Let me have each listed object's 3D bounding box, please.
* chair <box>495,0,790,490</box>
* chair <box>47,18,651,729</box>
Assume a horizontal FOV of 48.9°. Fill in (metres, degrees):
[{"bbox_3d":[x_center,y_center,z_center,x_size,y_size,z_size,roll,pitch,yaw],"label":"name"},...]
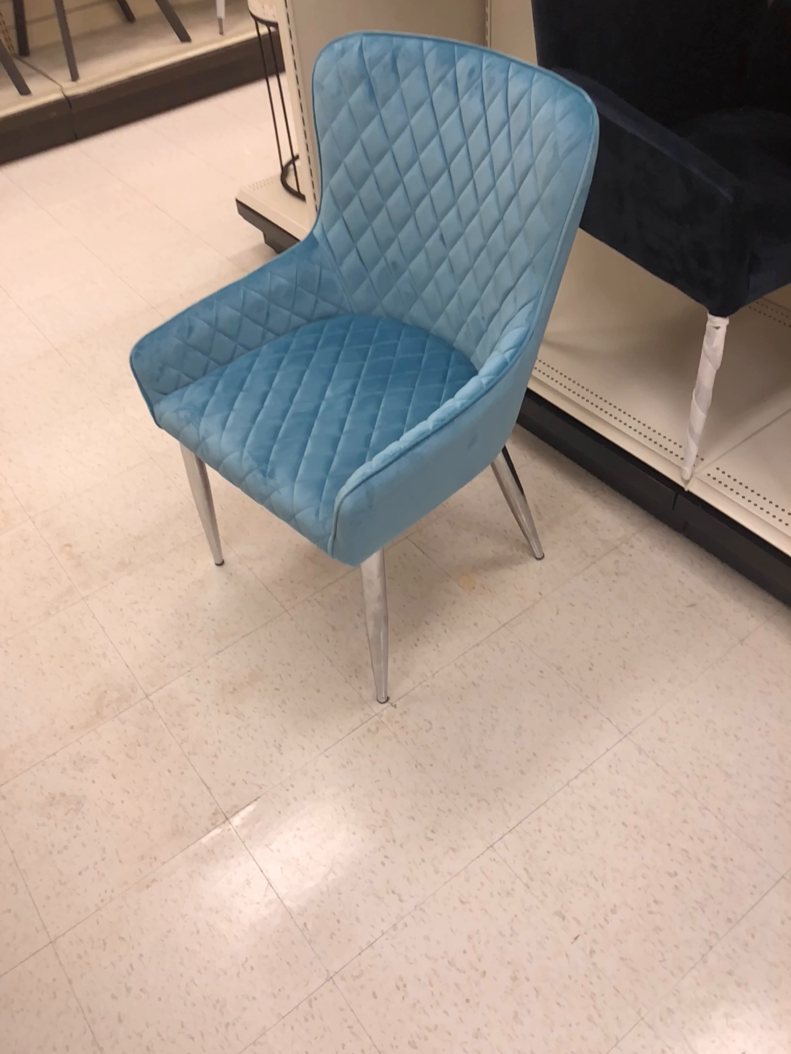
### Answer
[{"bbox_3d":[0.574,-0.624,1.525,0.560,0.777,0.582,-26,48,-18],"label":"chair"},{"bbox_3d":[-0.036,-0.247,1.464,0.584,0.871,0.561,-36,52,-26],"label":"chair"}]
